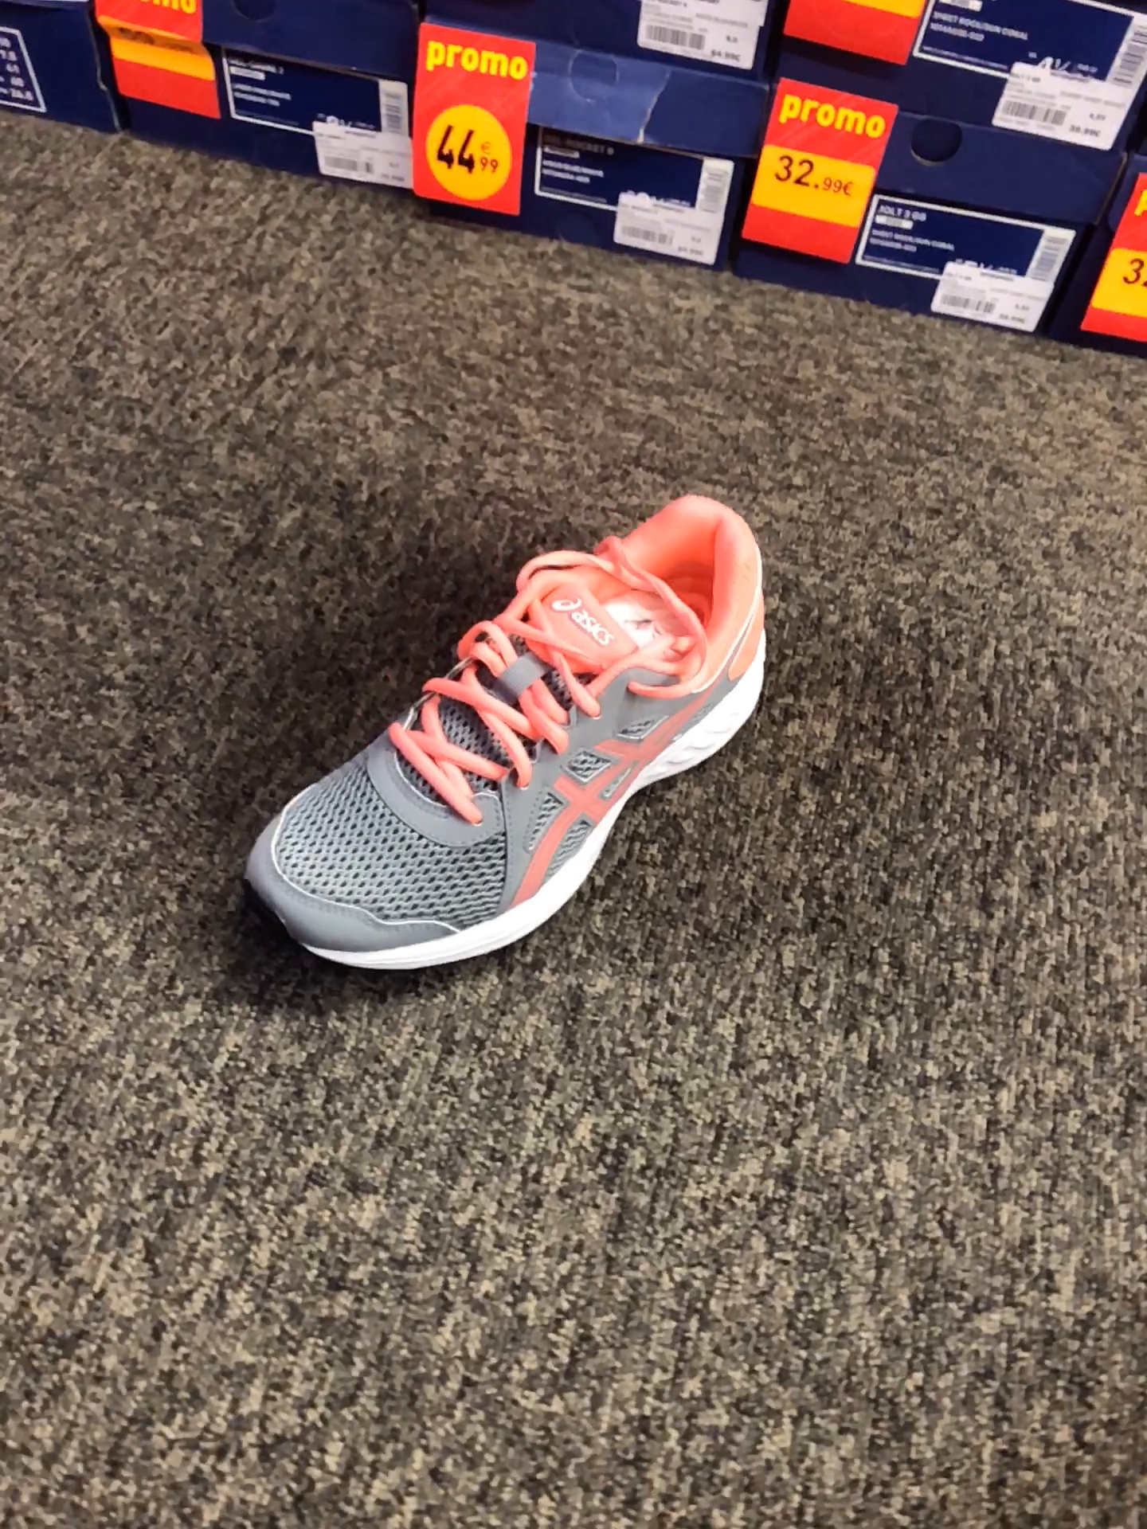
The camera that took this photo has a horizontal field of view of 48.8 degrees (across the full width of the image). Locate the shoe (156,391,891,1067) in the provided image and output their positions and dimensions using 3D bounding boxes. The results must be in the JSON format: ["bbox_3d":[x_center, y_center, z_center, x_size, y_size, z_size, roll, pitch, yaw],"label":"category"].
[{"bbox_3d":[-0.012,-0.022,0.492,0.251,0.109,0.110,-36,66,-26],"label":"shoe"}]
